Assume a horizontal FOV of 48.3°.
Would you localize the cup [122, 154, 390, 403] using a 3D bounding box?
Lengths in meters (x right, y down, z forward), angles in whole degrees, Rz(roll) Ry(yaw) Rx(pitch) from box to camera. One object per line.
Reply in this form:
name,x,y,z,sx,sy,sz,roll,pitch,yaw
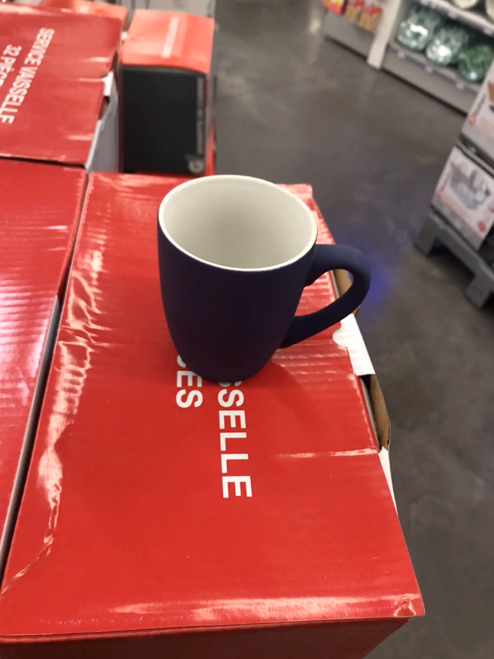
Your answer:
cup,0.003,-0.027,0.309,0.121,0.087,0.091,7,49,-2
